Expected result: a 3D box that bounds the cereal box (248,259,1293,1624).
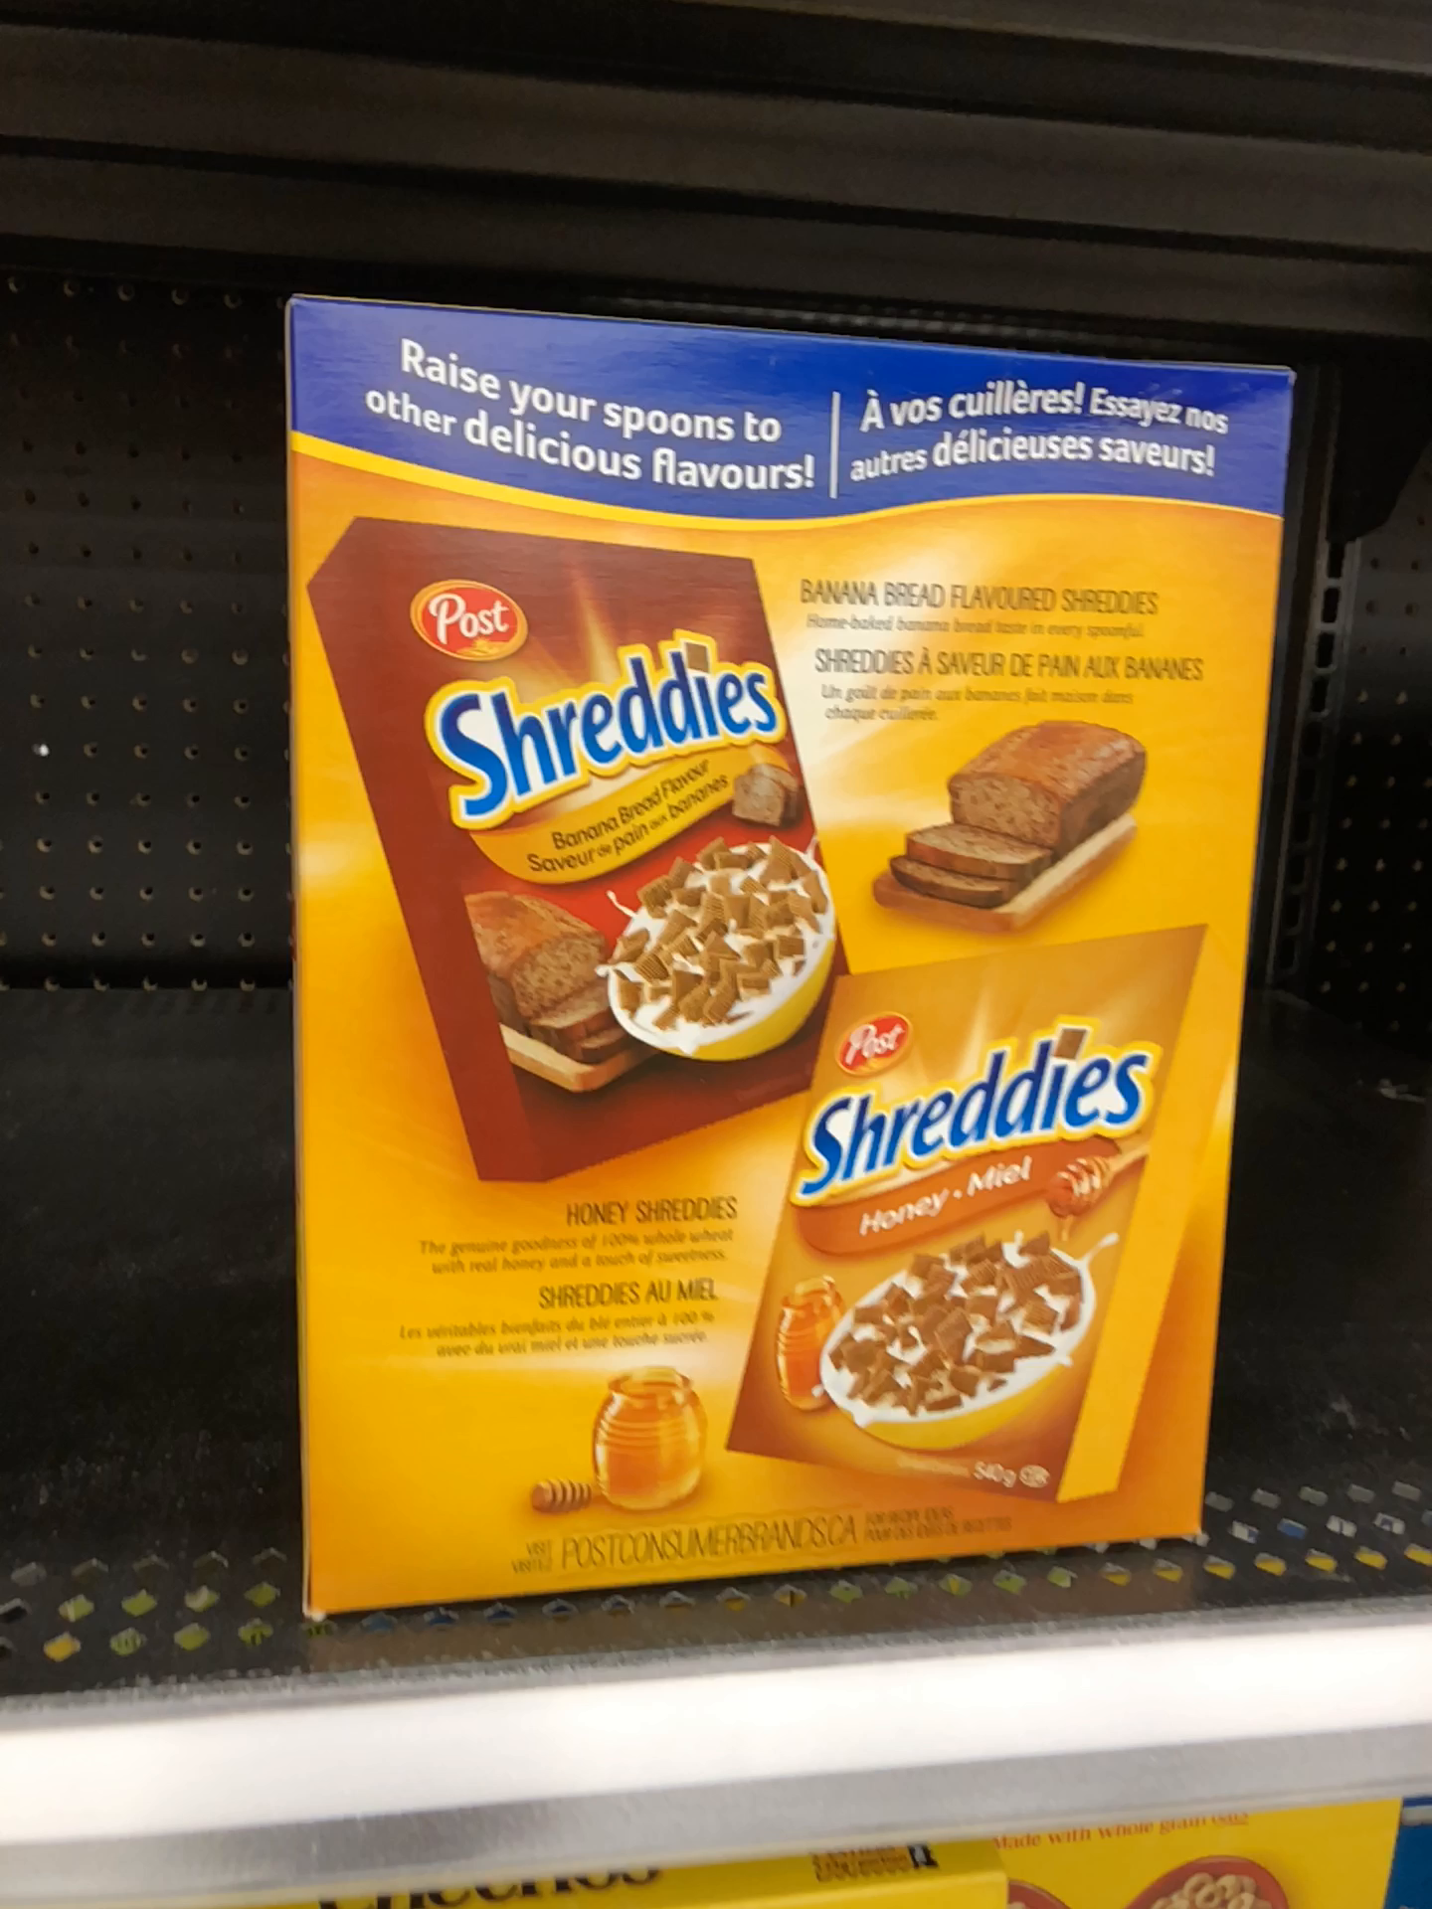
[{"bbox_3d":[0.008,0.000,0.360,0.210,0.269,0.060,0,10,-12],"label":"cereal box"}]
